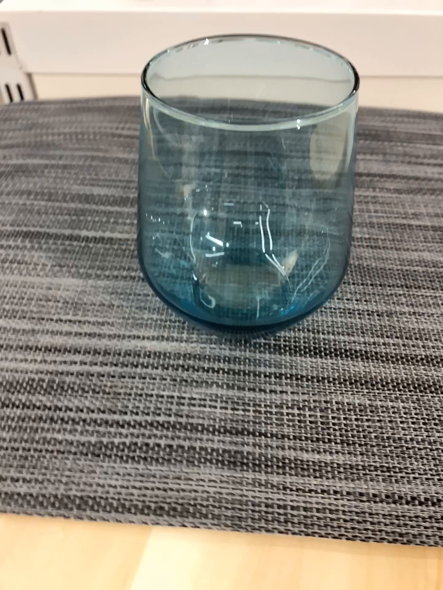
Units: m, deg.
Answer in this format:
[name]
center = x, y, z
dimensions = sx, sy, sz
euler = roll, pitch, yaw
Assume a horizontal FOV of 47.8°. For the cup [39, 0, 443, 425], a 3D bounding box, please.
[cup]
center = 0.008, -0.046, 0.221
dimensions = 0.120, 0.120, 0.120
euler = 0, 44, 0
